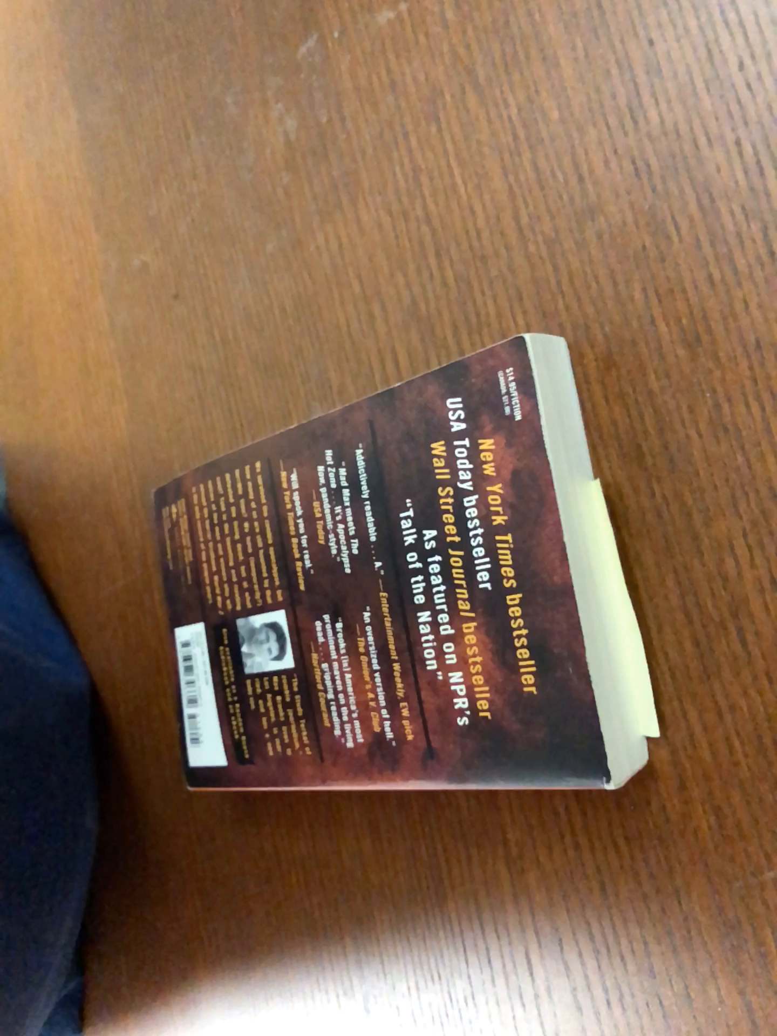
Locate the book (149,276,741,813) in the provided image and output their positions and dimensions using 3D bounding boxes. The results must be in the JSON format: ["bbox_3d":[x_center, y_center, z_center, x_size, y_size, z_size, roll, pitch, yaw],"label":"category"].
[{"bbox_3d":[-0.004,0.025,0.307,0.221,0.030,0.140,-15,80,42],"label":"book"}]
